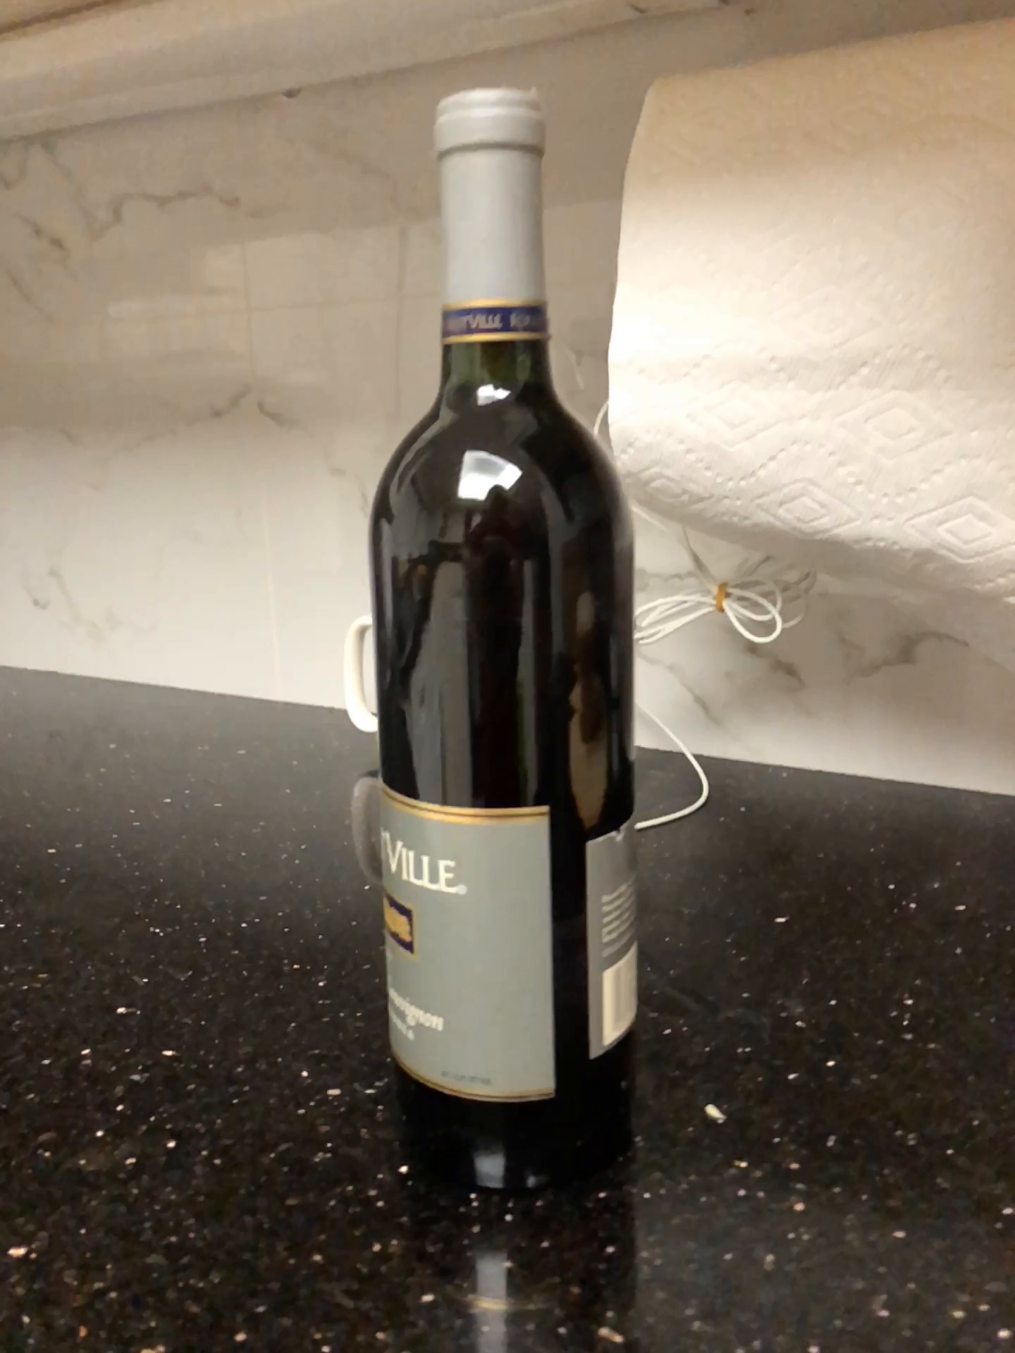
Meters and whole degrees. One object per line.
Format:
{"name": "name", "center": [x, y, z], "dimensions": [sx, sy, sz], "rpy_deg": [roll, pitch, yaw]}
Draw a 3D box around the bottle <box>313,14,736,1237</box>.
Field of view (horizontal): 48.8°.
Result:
{"name": "bottle", "center": [0.002, -0.006, 0.317], "dimensions": [0.090, 0.299, 0.080], "rpy_deg": [-4, 13, -13]}
